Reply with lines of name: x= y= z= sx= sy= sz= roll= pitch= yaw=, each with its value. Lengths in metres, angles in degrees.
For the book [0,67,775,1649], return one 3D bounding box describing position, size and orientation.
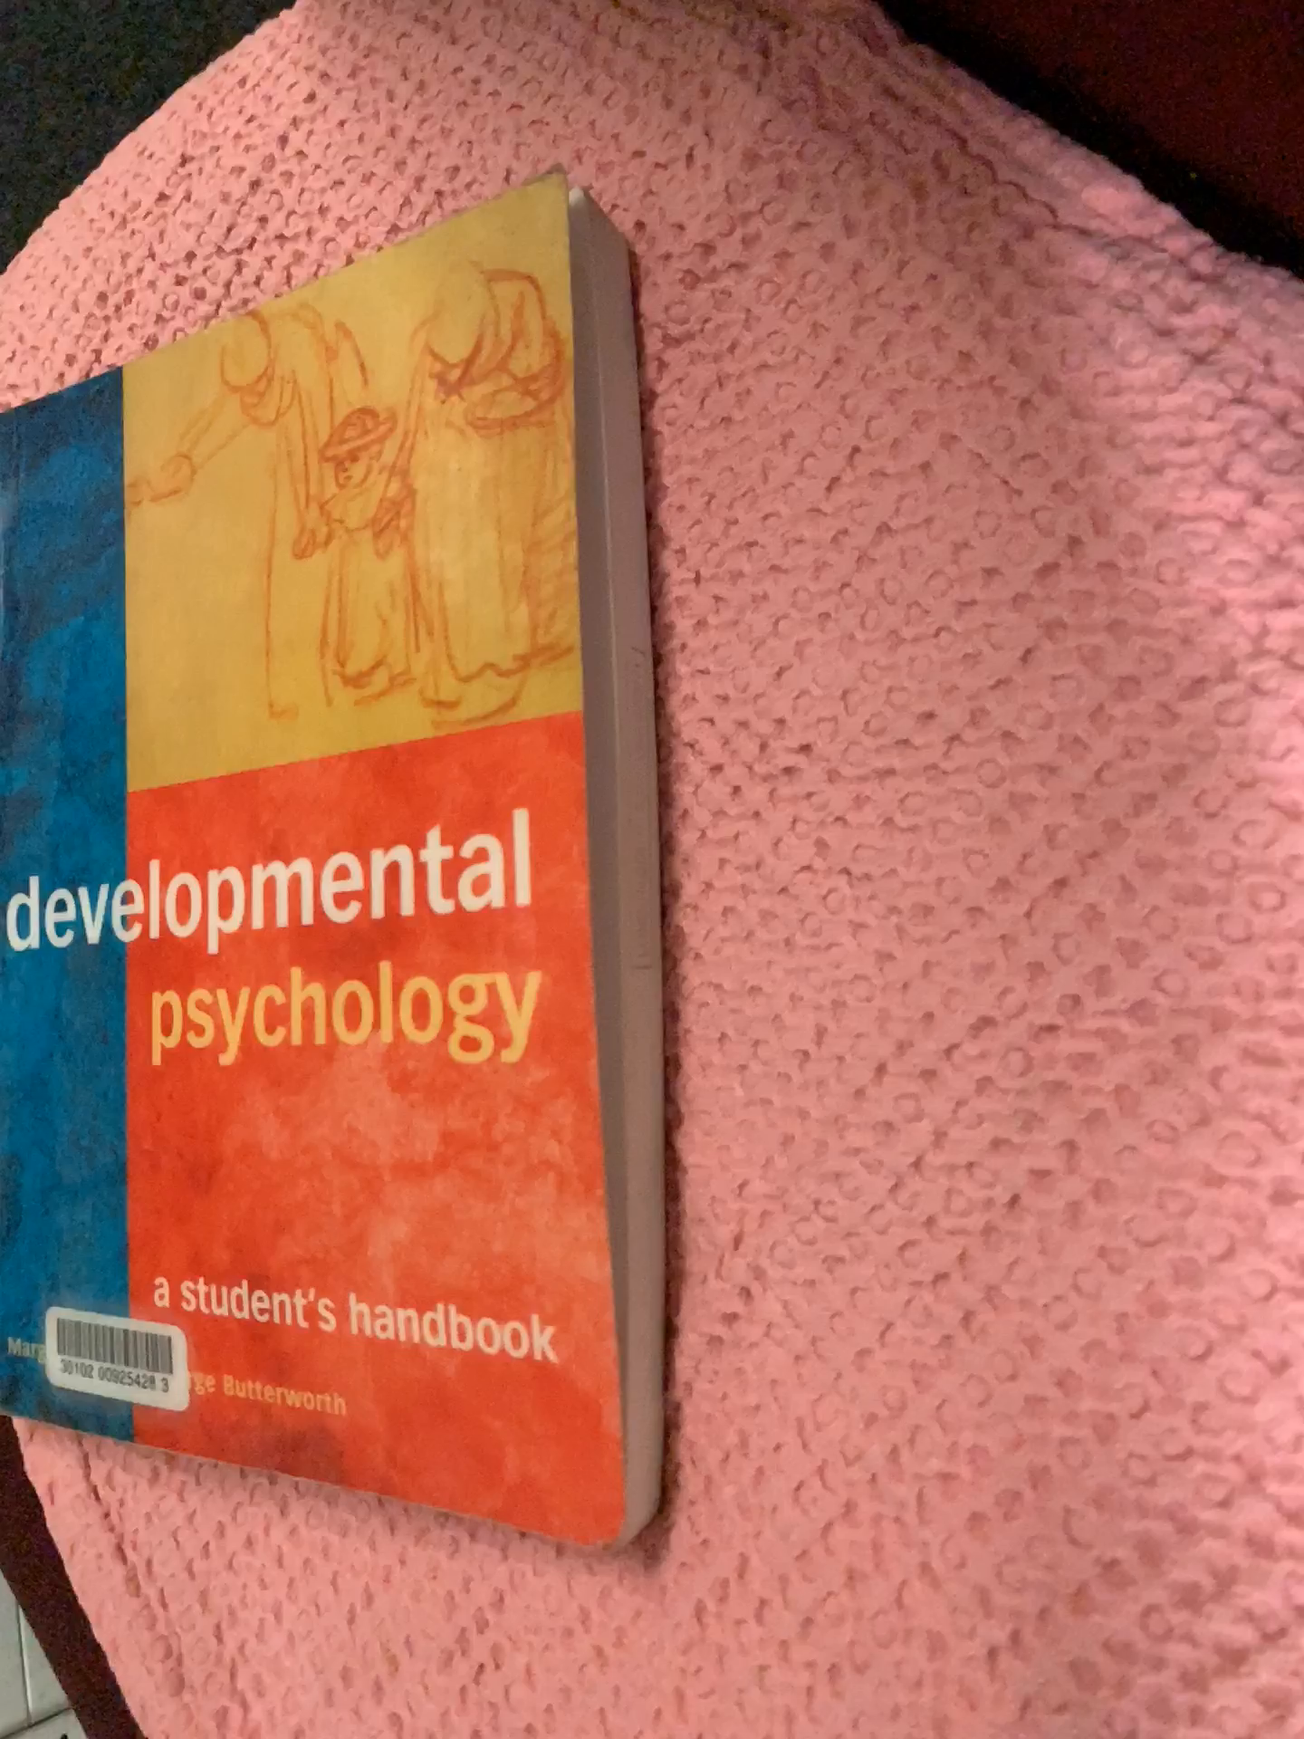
book: x=-0.084 y=0.000 z=0.289 sx=0.211 sy=0.040 sz=0.260 roll=-6 pitch=82 yaw=30
